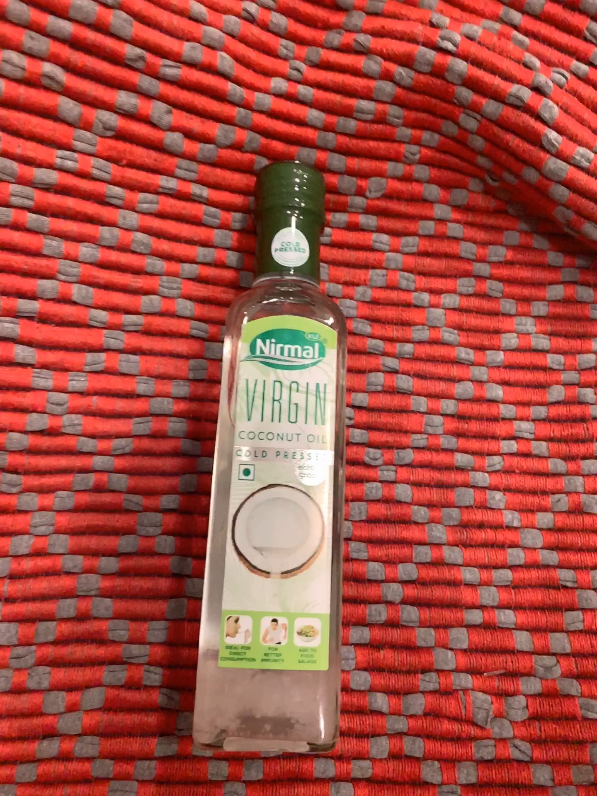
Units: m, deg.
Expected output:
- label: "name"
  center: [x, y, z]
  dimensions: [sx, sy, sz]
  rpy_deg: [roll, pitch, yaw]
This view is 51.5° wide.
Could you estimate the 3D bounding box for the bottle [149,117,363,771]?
- label: "bottle"
  center: [-0.012, 0.008, 0.235]
  dimensions: [0.060, 0.060, 0.220]
  rpy_deg: [3, 73, -5]
